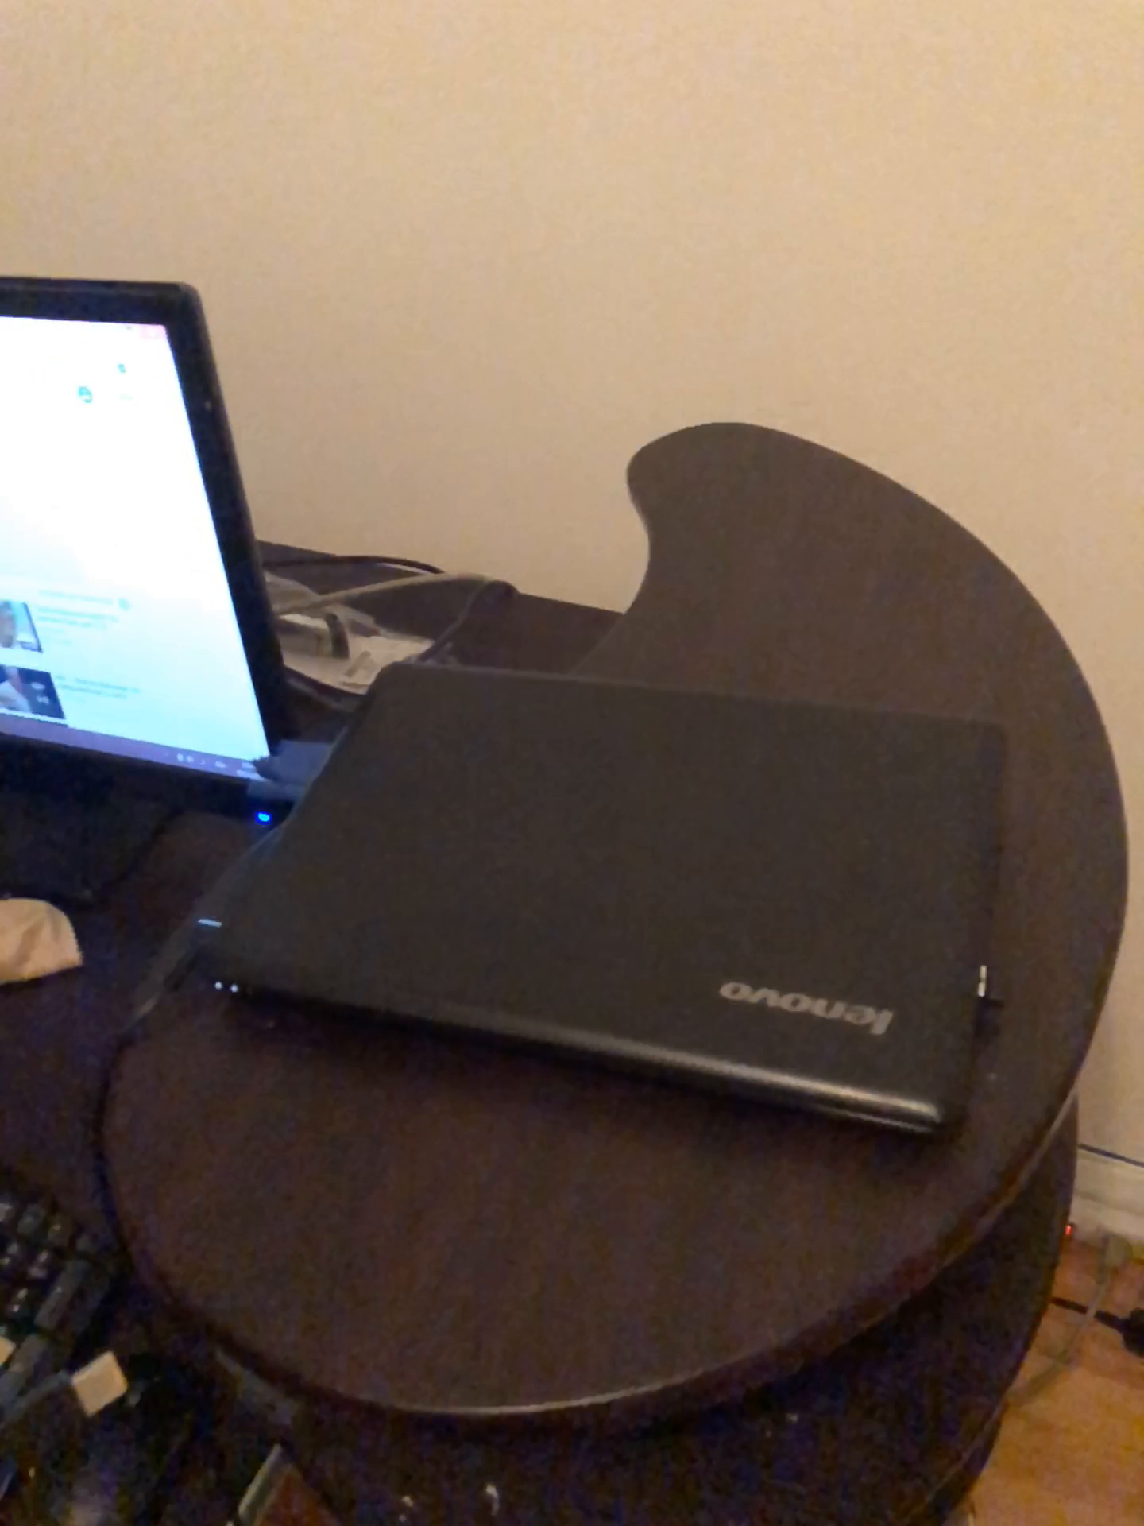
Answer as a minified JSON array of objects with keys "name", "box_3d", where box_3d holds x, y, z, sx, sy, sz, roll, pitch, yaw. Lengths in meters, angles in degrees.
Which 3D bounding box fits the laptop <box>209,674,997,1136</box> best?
[{"name":"laptop","box_3d":[0.015,0.034,0.469,0.259,0.008,0.173,6,45,21]}]
